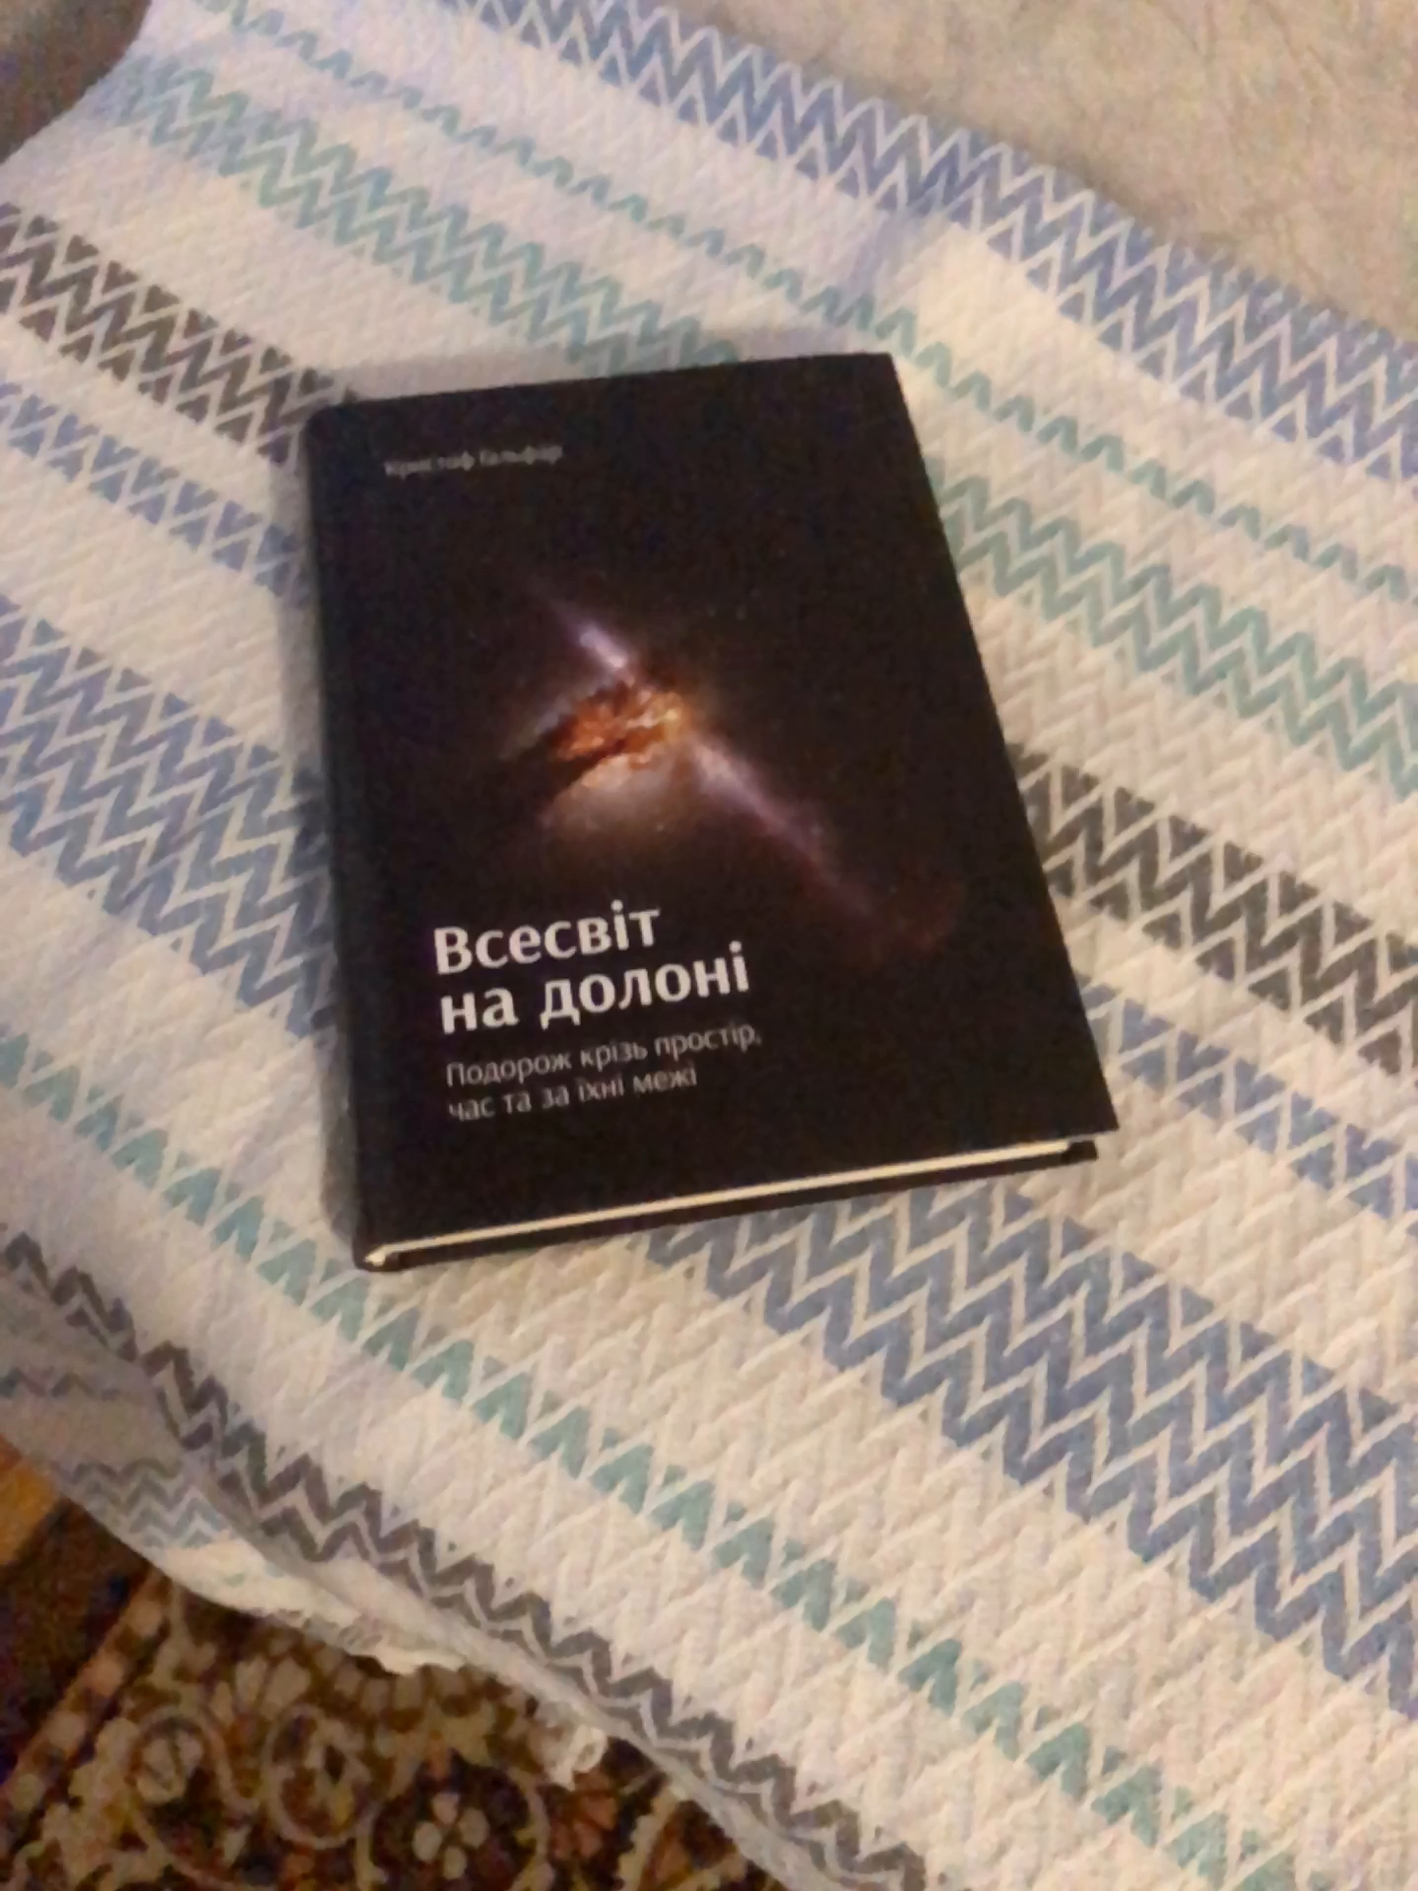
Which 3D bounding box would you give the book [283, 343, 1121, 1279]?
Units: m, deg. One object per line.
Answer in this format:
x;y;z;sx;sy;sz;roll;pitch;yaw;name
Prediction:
-0.013;-0.046;0.382;0.161;0.030;0.225;-8;65;-6;book
